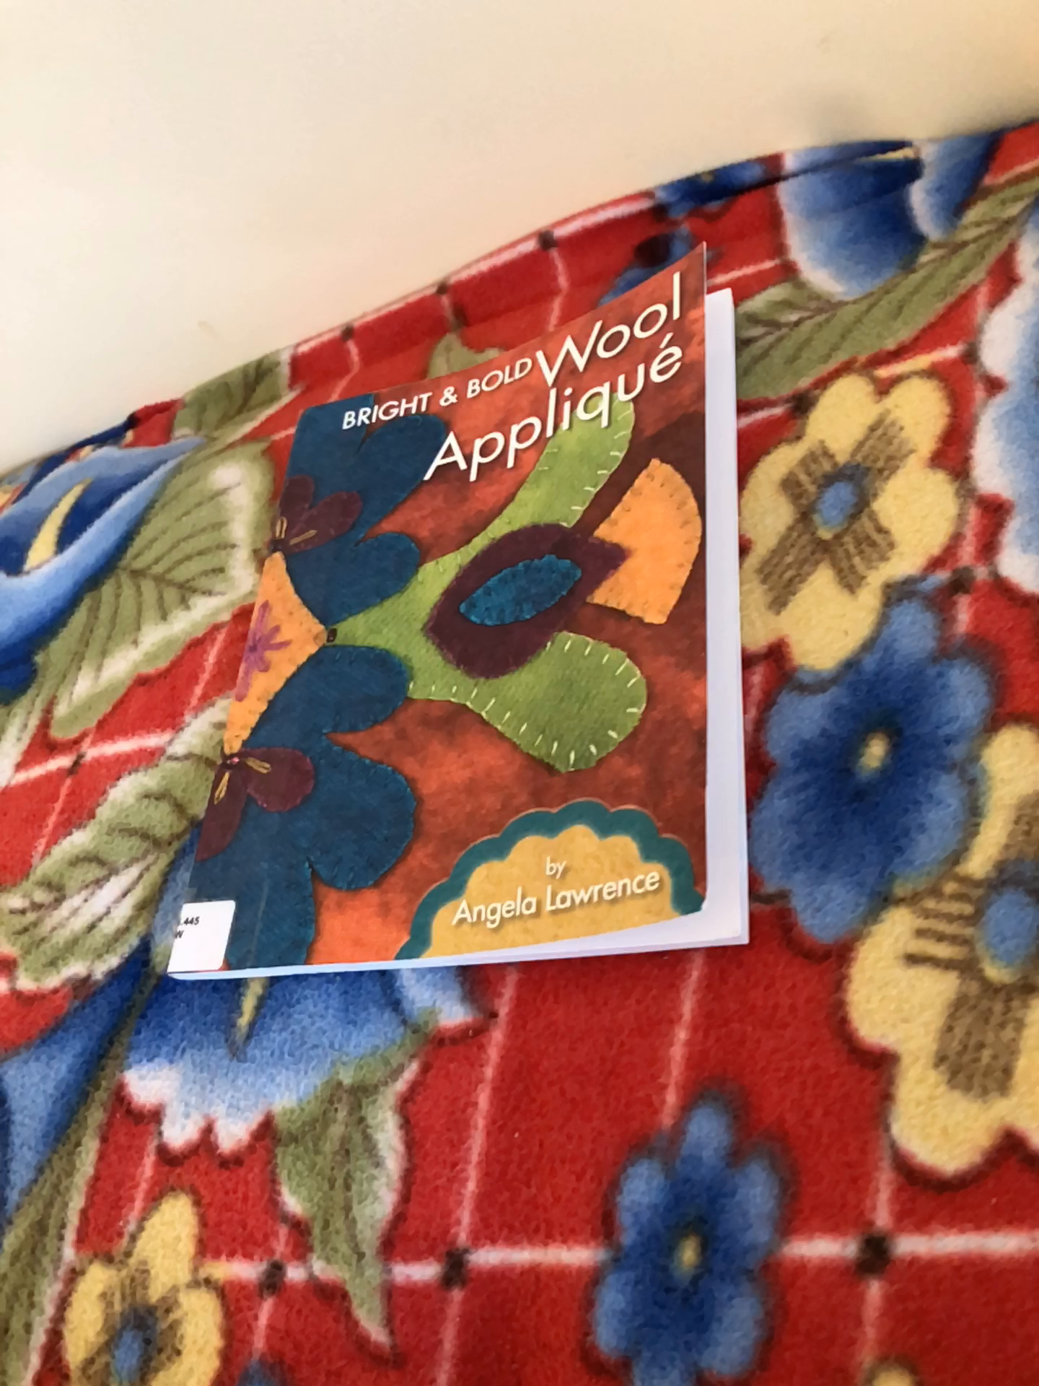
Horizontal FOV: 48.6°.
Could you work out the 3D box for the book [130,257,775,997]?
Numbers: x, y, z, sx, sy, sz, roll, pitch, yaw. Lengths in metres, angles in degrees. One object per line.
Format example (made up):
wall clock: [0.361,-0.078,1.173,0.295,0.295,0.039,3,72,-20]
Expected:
book: [-0.022,-0.028,0.424,0.221,0.020,0.264,-11,56,25]
